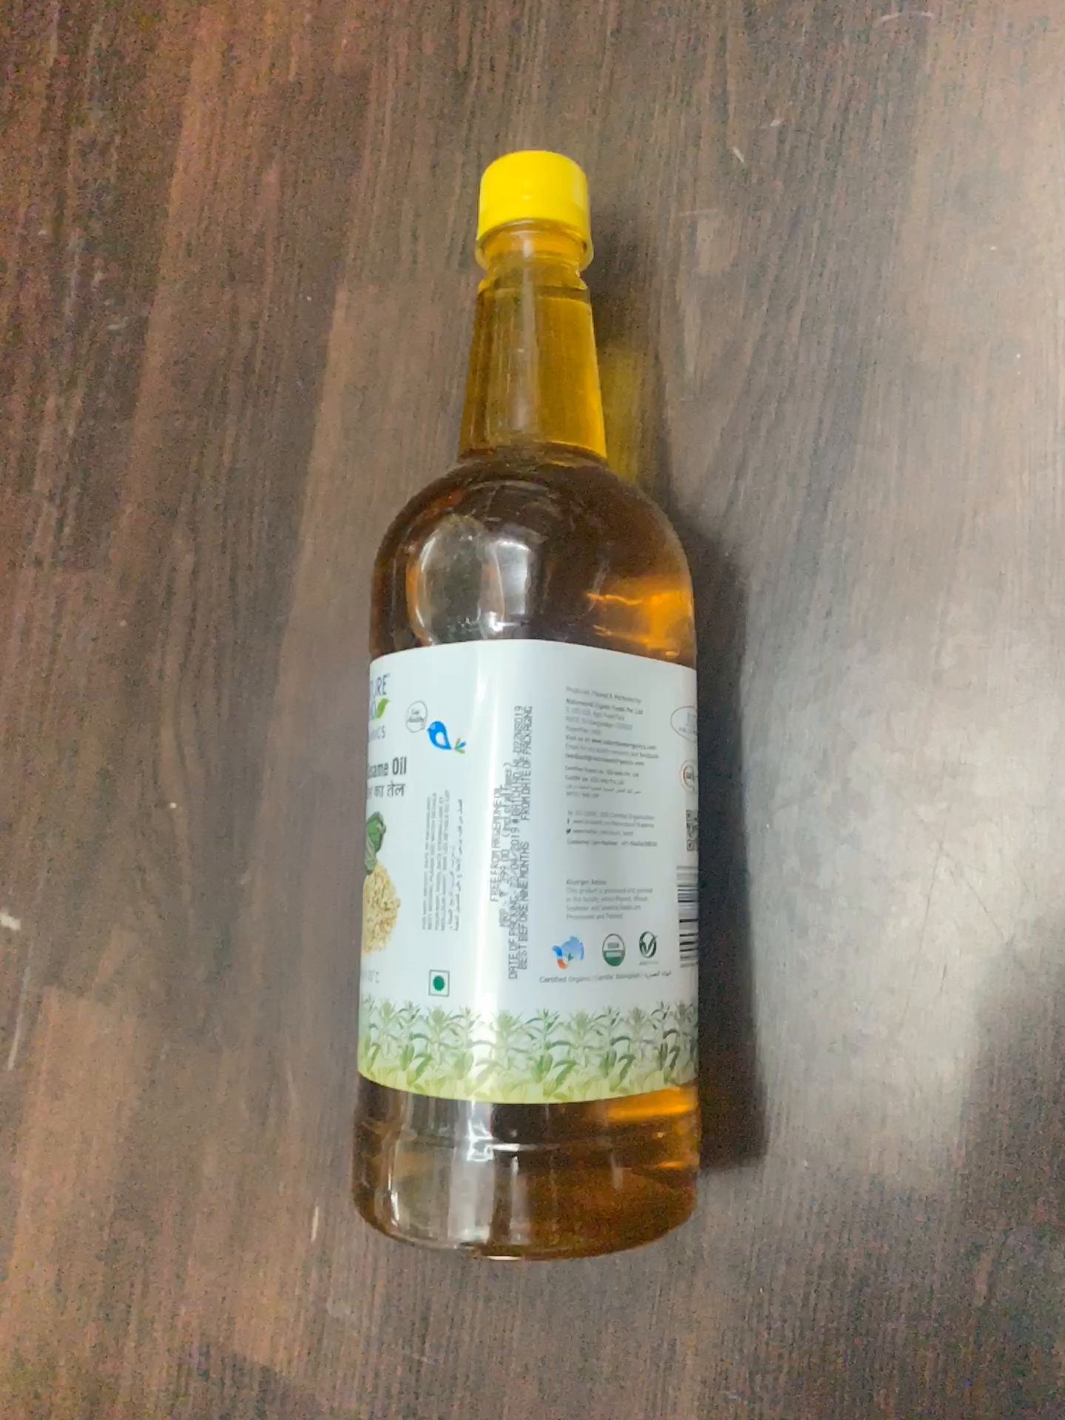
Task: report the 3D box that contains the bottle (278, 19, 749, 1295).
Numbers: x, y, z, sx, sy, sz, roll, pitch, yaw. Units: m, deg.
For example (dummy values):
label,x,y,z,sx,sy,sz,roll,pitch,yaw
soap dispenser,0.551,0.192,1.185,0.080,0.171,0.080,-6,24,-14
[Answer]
label,x,y,z,sx,sy,sz,roll,pitch,yaw
bottle,-0.007,-0.013,0.279,0.080,0.090,0.270,156,118,-73
